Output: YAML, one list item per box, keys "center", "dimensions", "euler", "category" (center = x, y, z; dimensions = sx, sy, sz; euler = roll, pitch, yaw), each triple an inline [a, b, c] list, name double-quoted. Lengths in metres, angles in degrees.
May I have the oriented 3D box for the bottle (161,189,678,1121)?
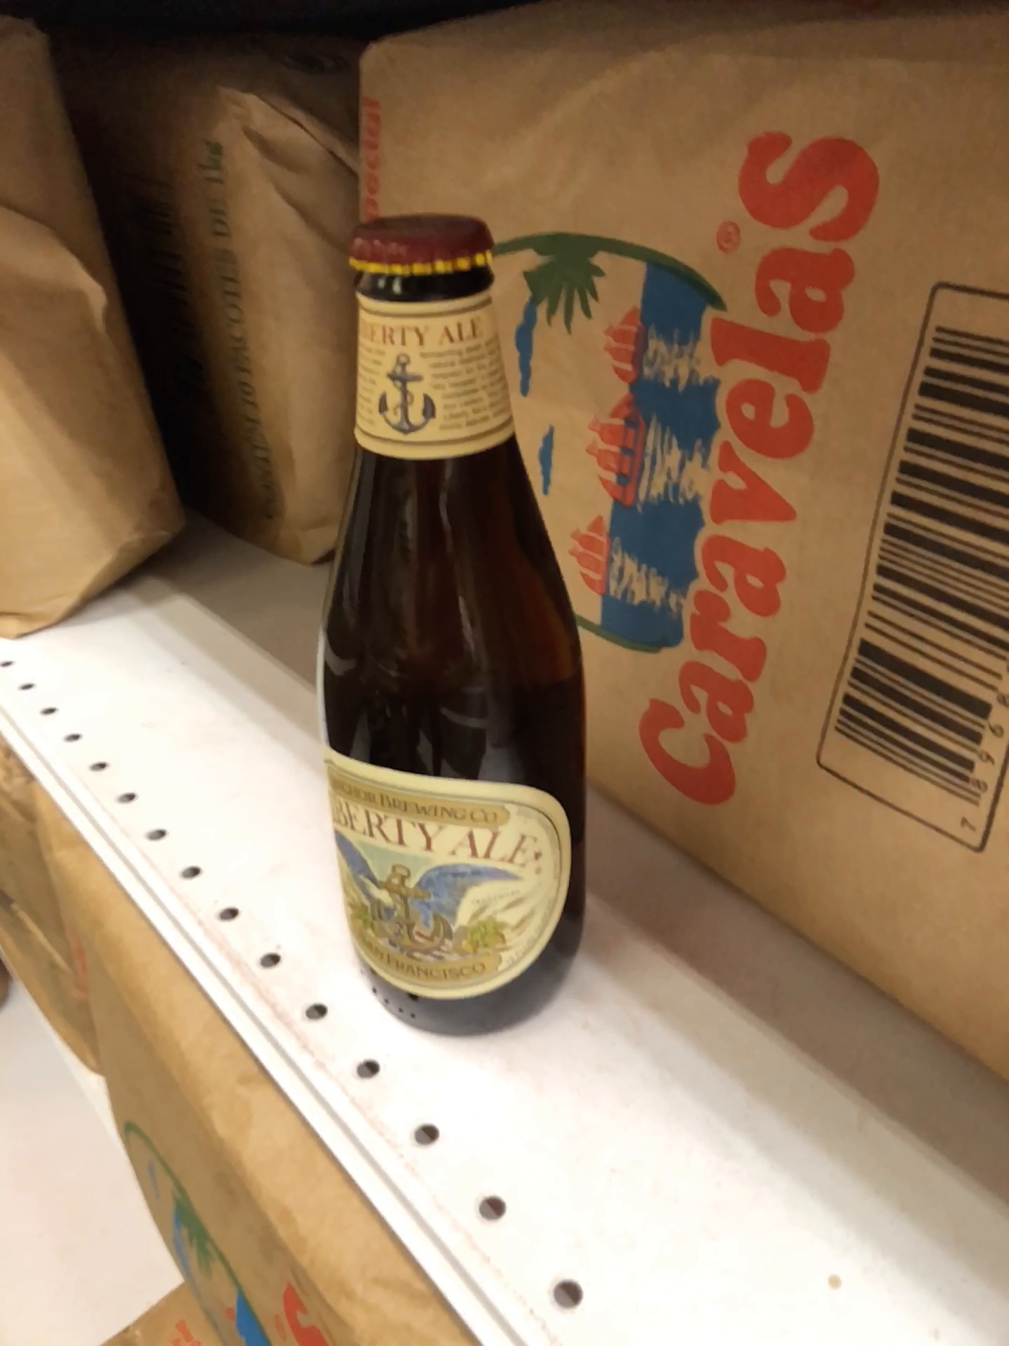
- center: [-0.010, -0.002, 0.253]
  dimensions: [0.070, 0.188, 0.070]
  euler: [-1, 30, 1]
  category: "bottle"
